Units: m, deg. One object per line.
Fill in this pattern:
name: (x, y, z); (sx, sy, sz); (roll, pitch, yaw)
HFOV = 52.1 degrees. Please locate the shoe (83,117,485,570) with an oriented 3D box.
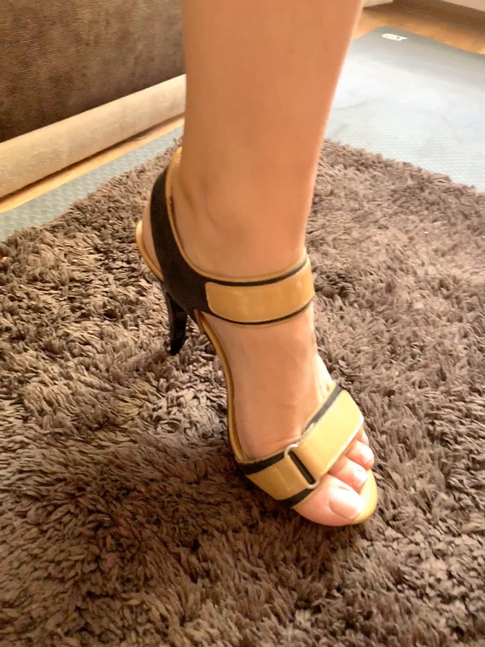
shoe: (0.013, 0.001, 0.281); (0.200, 0.149, 0.090); (36, 48, 26)
